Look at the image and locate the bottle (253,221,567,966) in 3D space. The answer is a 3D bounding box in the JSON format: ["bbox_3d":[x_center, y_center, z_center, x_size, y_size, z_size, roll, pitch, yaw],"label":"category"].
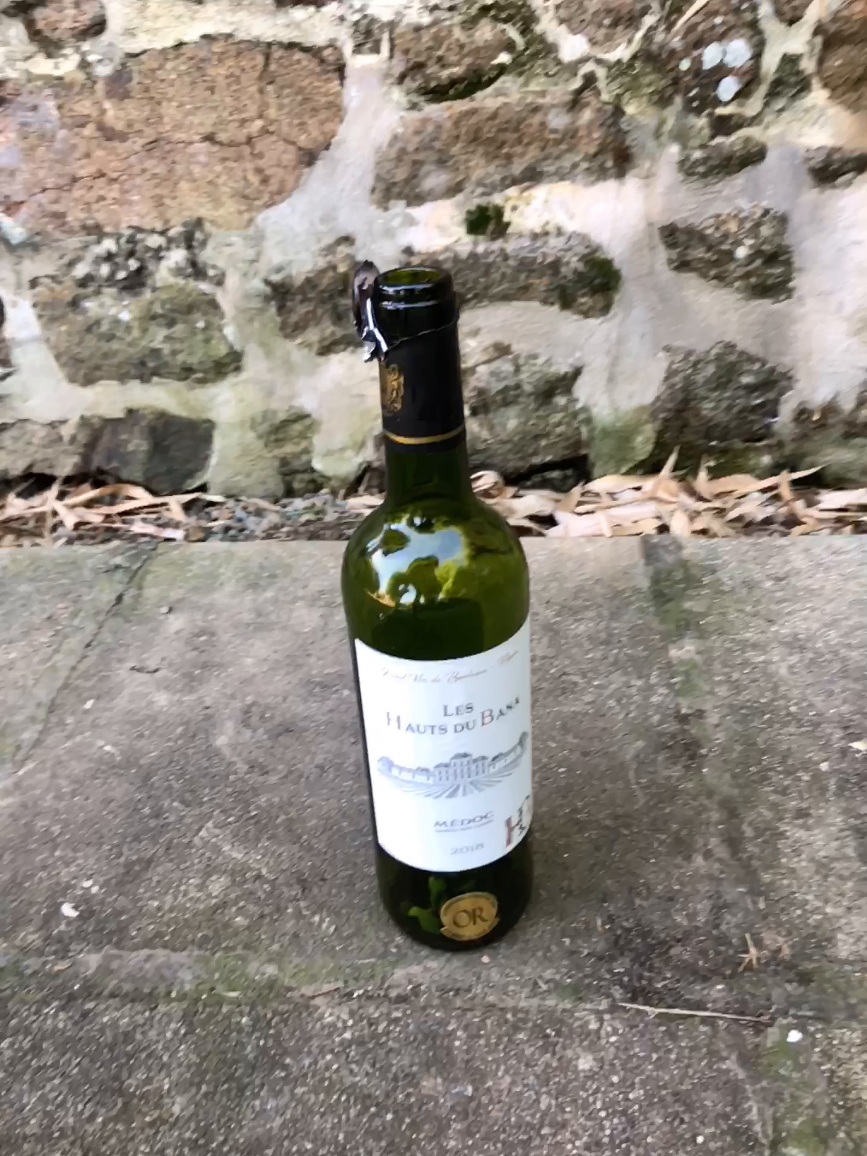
[{"bbox_3d":[-0.002,0.021,0.381,0.090,0.288,0.080,-9,32,-6],"label":"bottle"}]
